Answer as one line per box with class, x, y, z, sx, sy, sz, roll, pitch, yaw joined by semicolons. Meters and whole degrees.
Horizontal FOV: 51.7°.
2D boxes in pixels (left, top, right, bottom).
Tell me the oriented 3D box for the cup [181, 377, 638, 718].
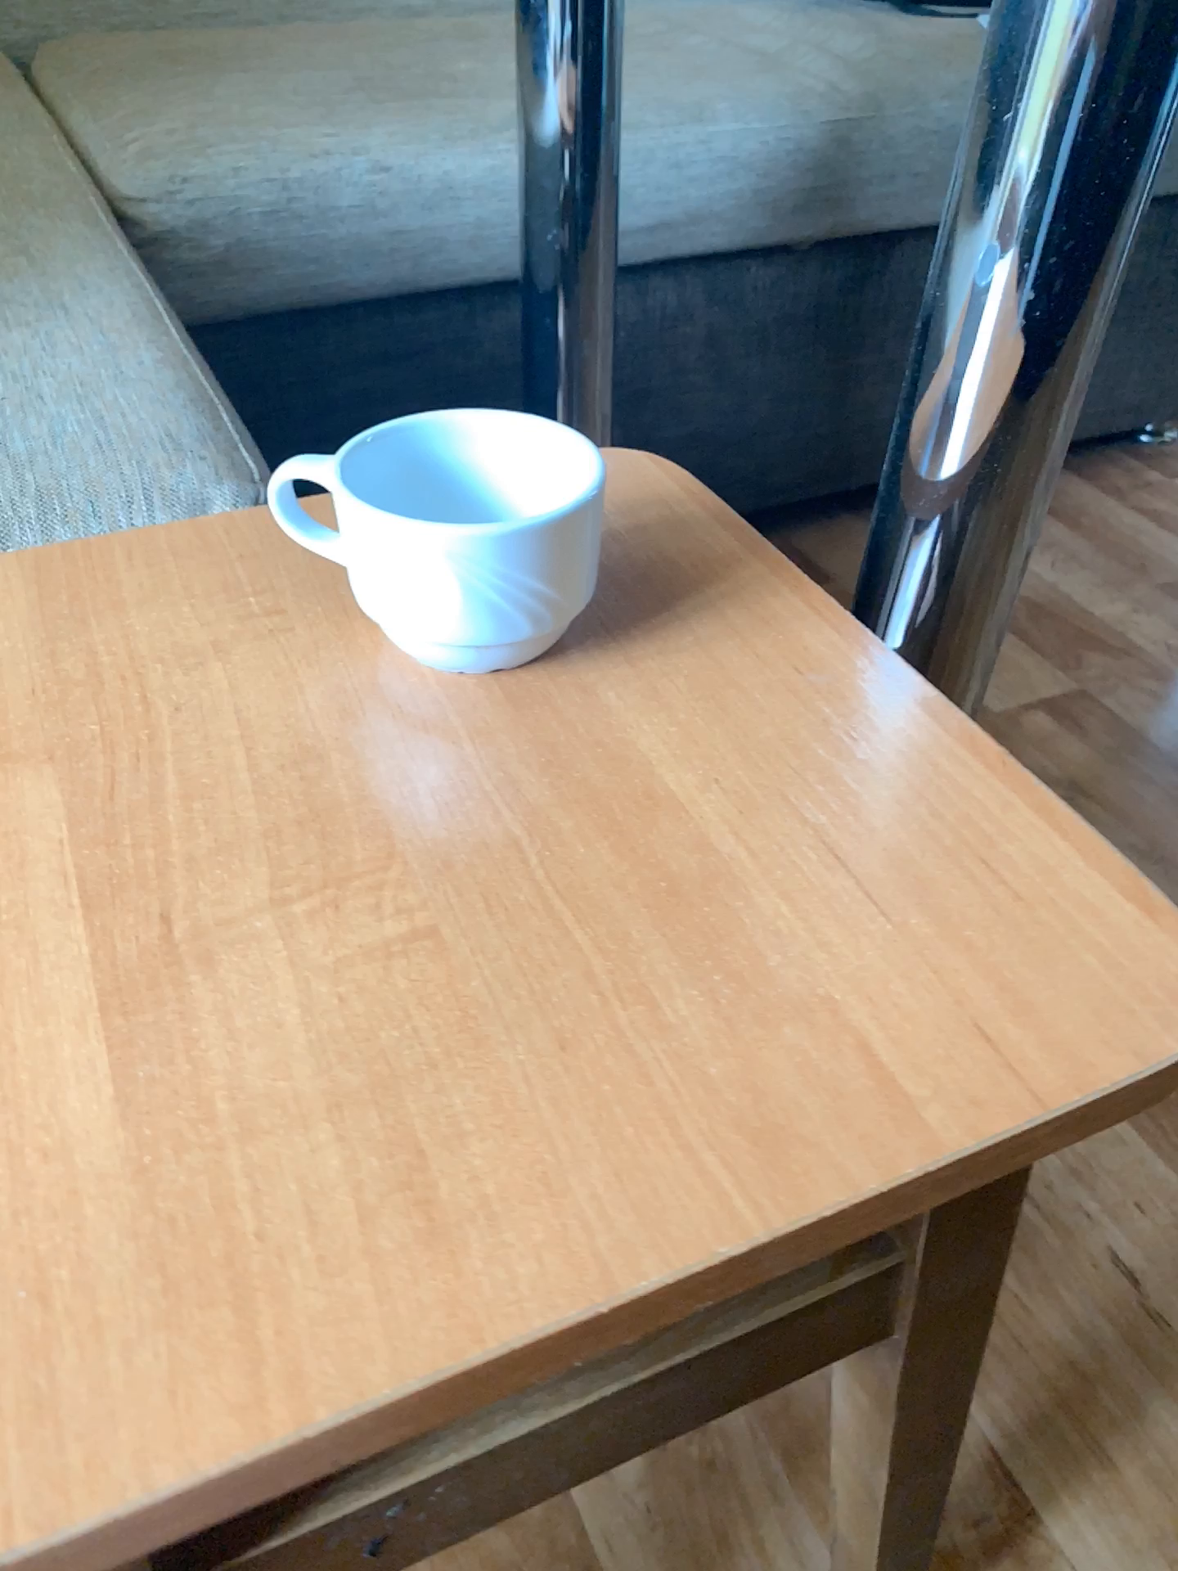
cup;-0.045;-0.071;0.345;0.100;0.050;0.080;11;41;11
